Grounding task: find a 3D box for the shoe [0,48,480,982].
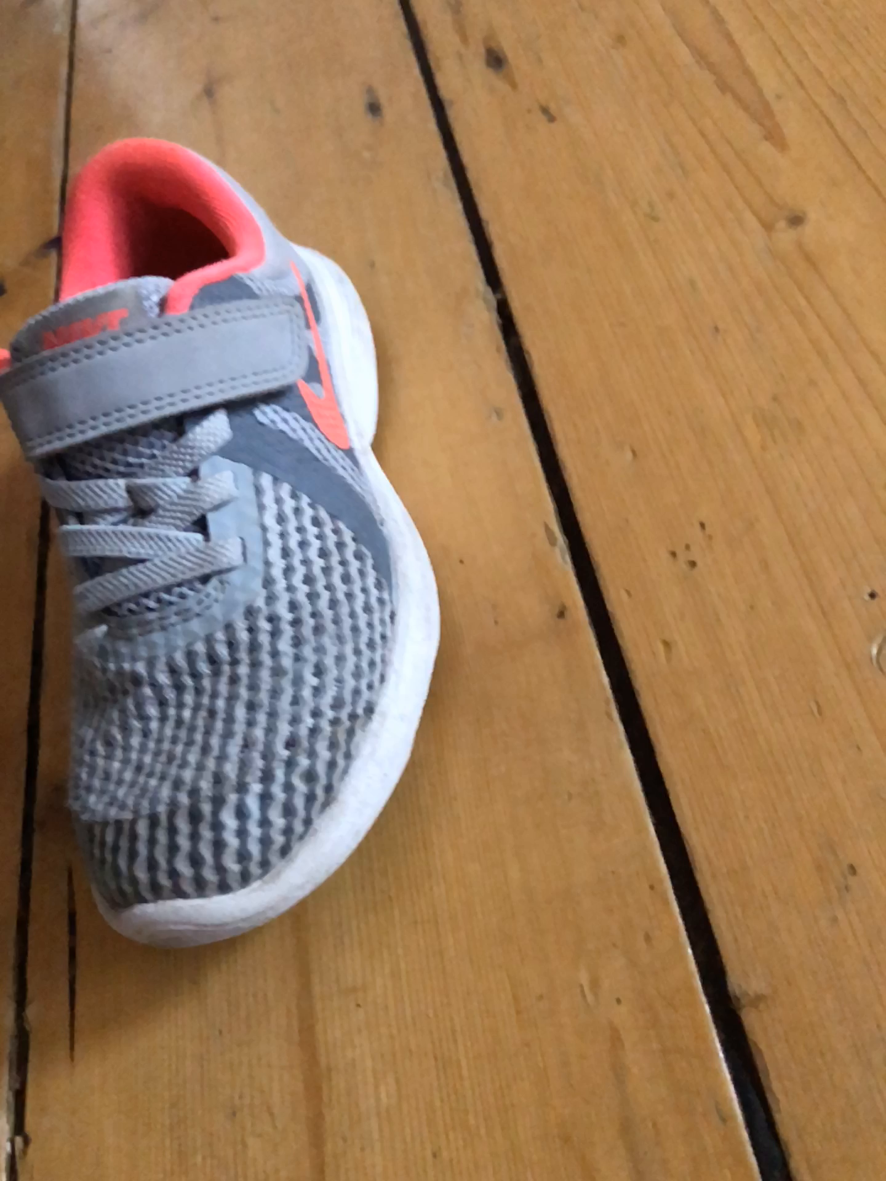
[{"bbox_3d":[-0.053,-0.021,0.217,0.080,0.070,0.181,-18,57,16],"label":"shoe"}]
